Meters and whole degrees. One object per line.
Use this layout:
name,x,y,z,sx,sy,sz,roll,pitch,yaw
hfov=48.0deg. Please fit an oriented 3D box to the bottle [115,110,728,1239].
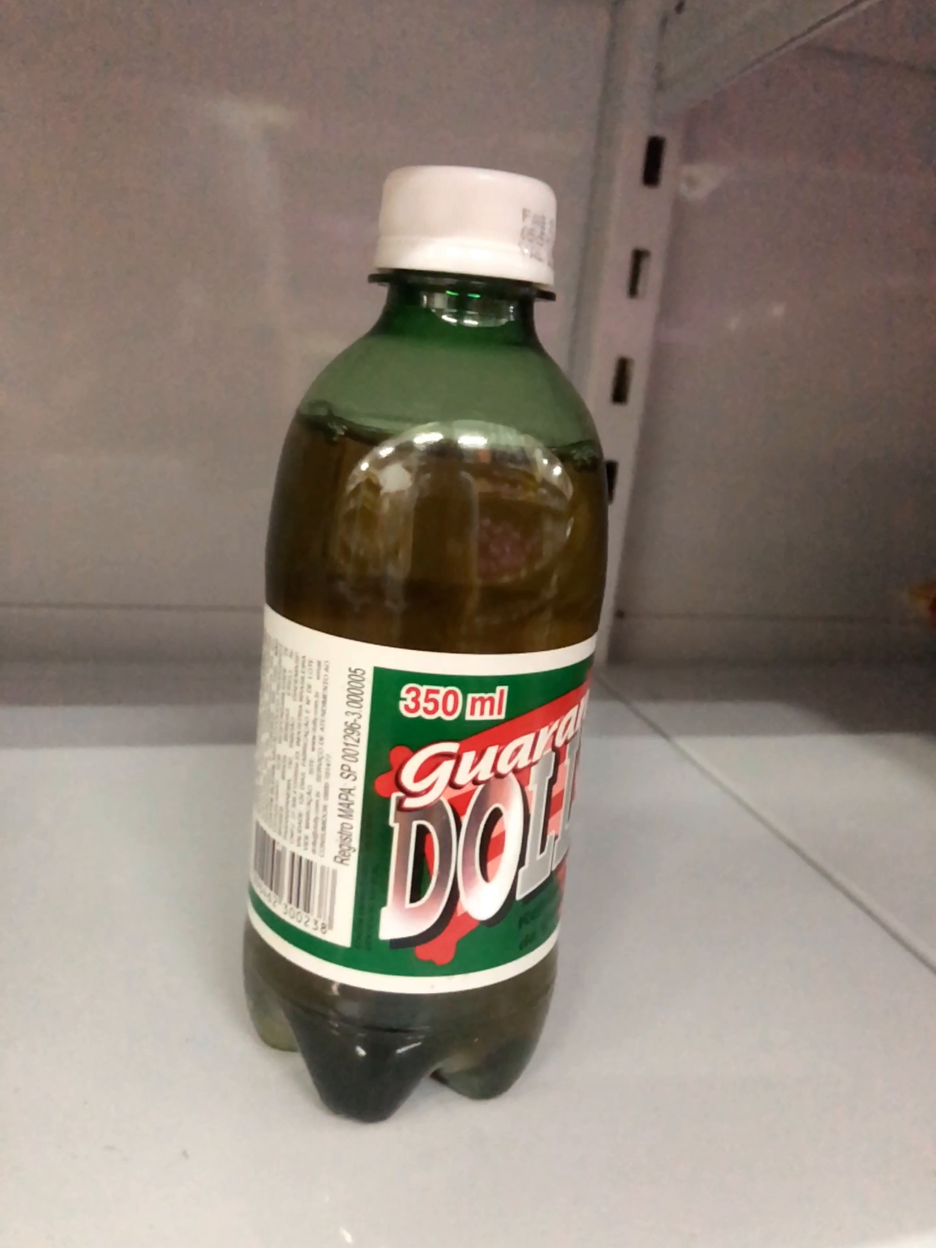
bottle,-0.014,0.005,0.209,0.070,0.179,0.080,20,21,40
